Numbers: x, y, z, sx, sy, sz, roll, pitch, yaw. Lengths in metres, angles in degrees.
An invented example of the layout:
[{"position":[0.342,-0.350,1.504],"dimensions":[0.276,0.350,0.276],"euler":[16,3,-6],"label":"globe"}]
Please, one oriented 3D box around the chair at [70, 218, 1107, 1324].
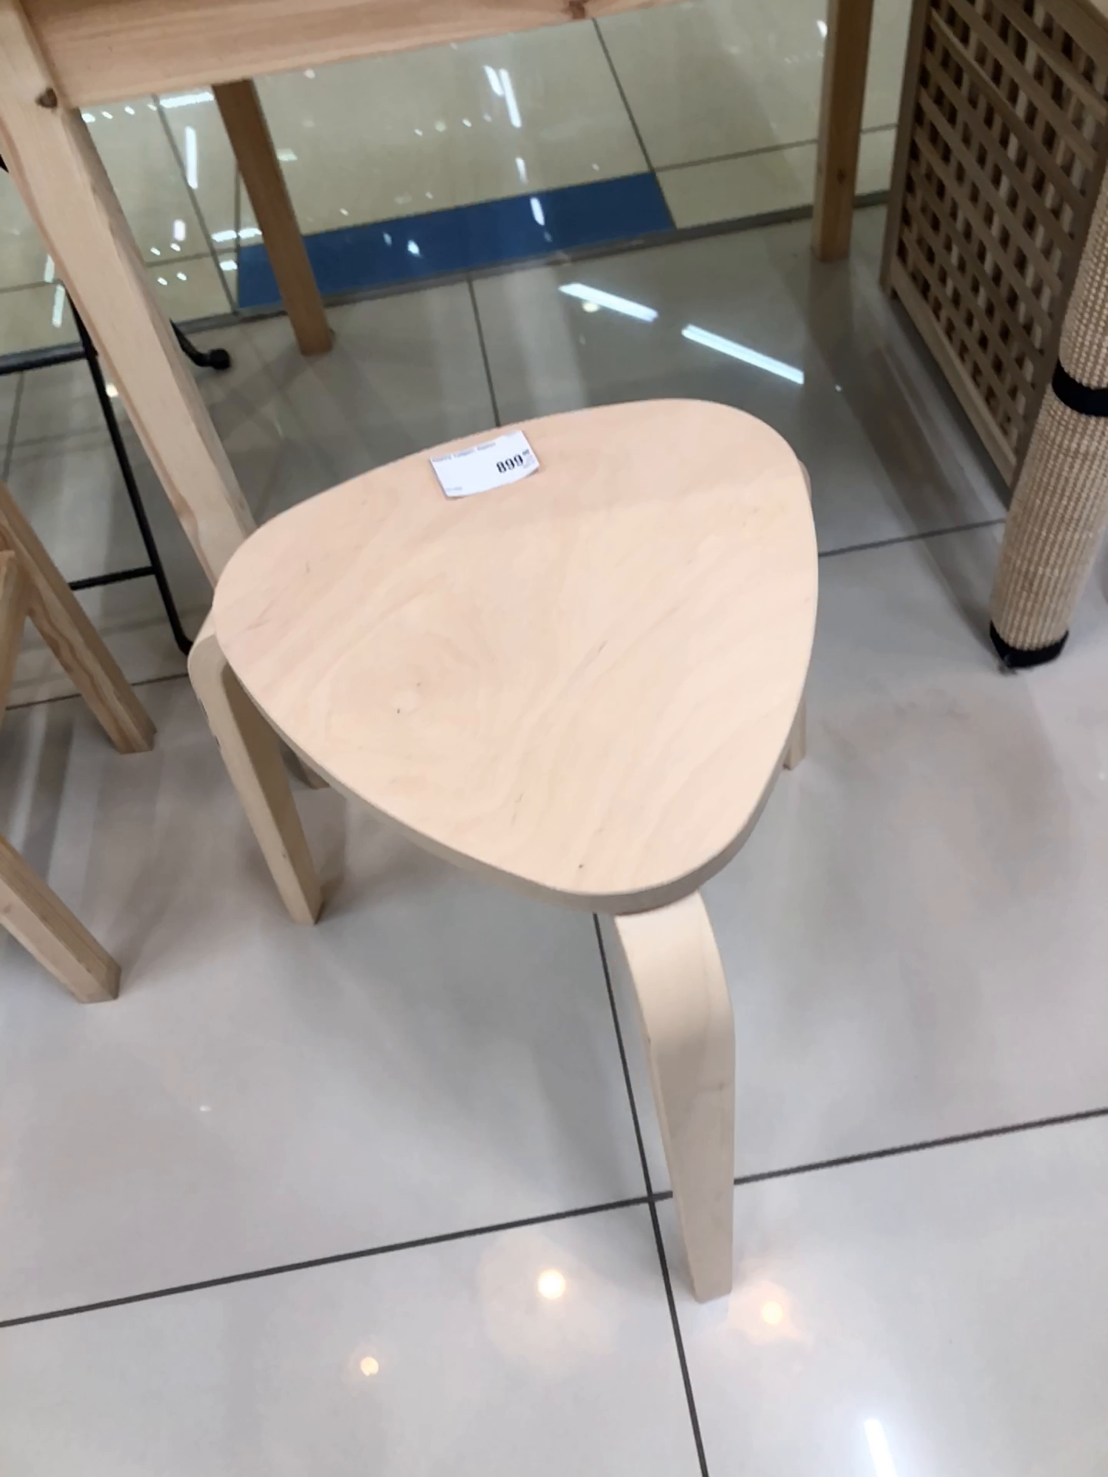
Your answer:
[{"position":[0.061,0.020,0.875],"dimensions":[0.491,0.467,0.431],"euler":[35,66,28],"label":"chair"}]
